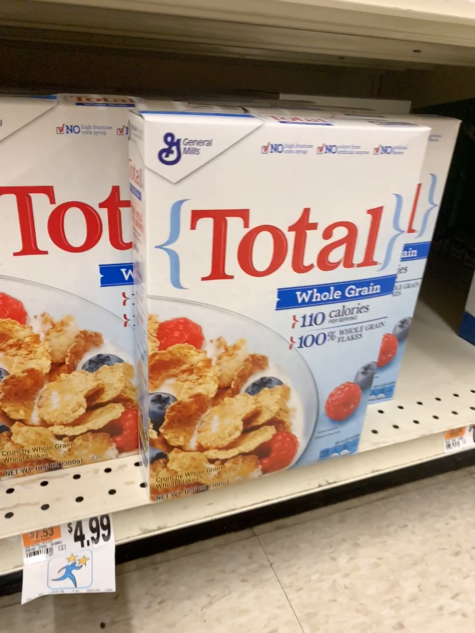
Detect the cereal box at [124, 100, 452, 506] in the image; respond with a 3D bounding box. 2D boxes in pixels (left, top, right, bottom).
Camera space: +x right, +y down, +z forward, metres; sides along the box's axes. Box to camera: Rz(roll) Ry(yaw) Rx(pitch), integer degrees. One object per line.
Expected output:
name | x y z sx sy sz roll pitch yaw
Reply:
cereal box | 0.027 -0.003 0.363 0.200 0.278 0.050 -6 28 -20
